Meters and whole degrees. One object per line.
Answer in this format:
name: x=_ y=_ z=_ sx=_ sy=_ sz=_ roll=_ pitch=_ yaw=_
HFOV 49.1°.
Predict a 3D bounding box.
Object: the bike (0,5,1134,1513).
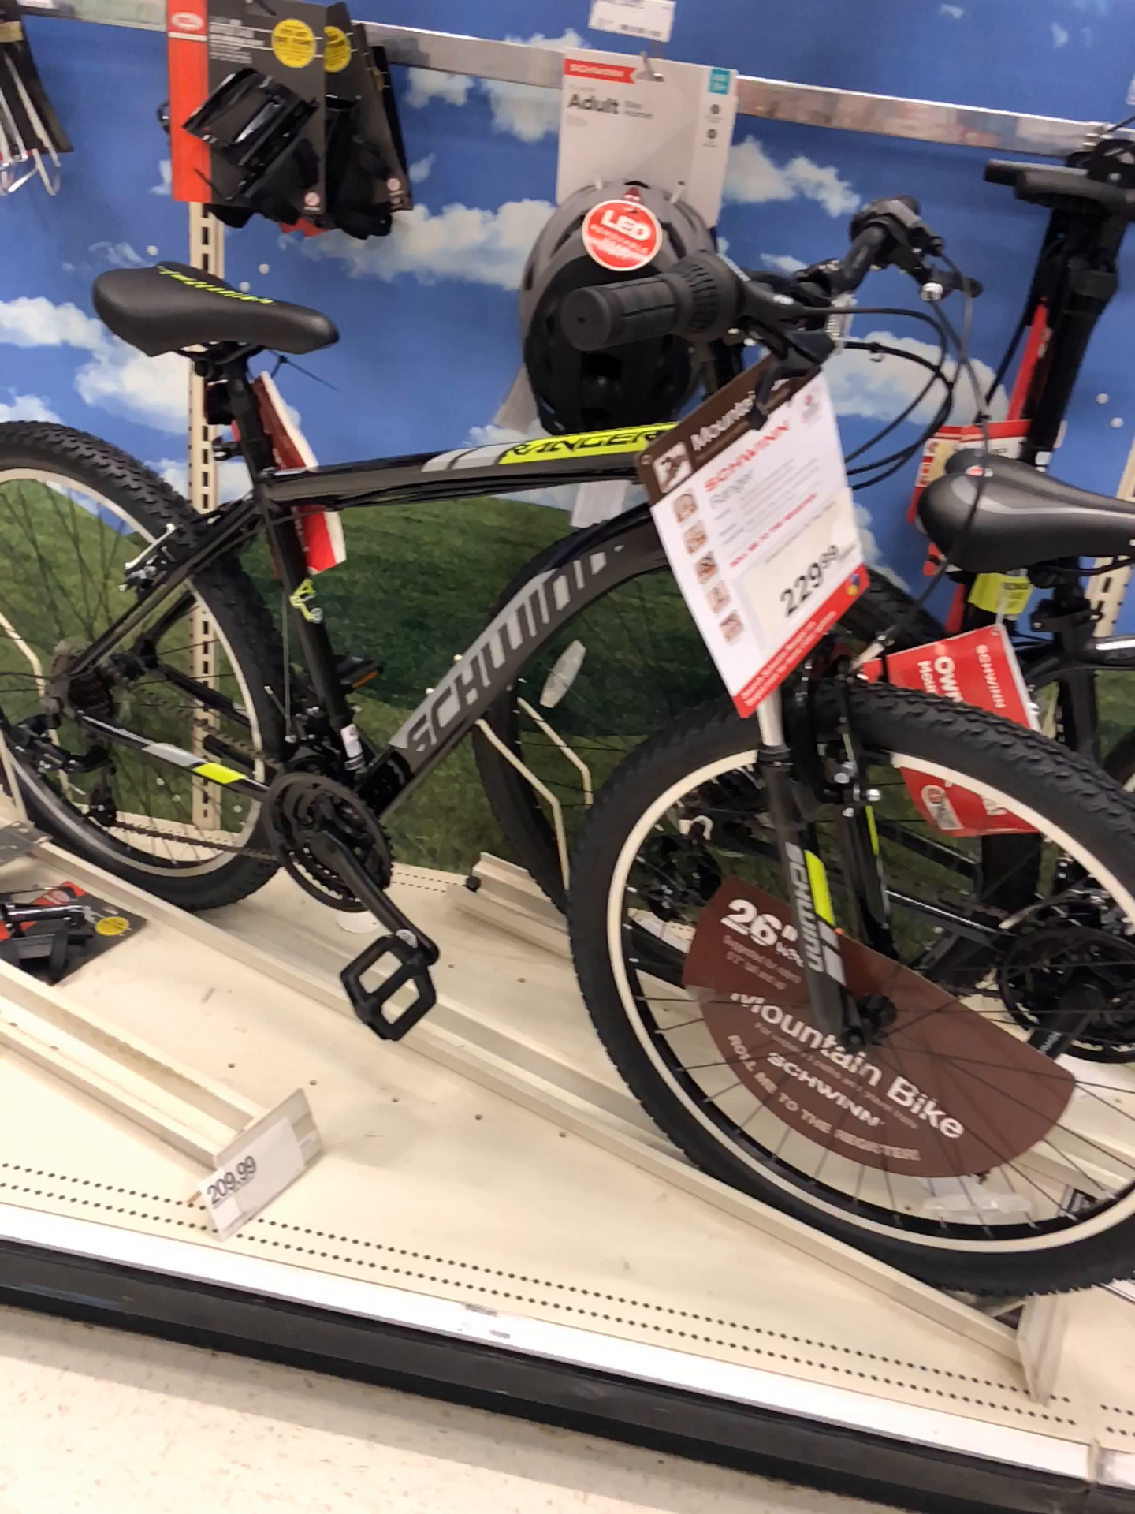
bike: x=-0.176 y=-0.003 z=1.210 sx=1.653 sy=1.002 sz=0.601 roll=23 pitch=29 yaw=24
